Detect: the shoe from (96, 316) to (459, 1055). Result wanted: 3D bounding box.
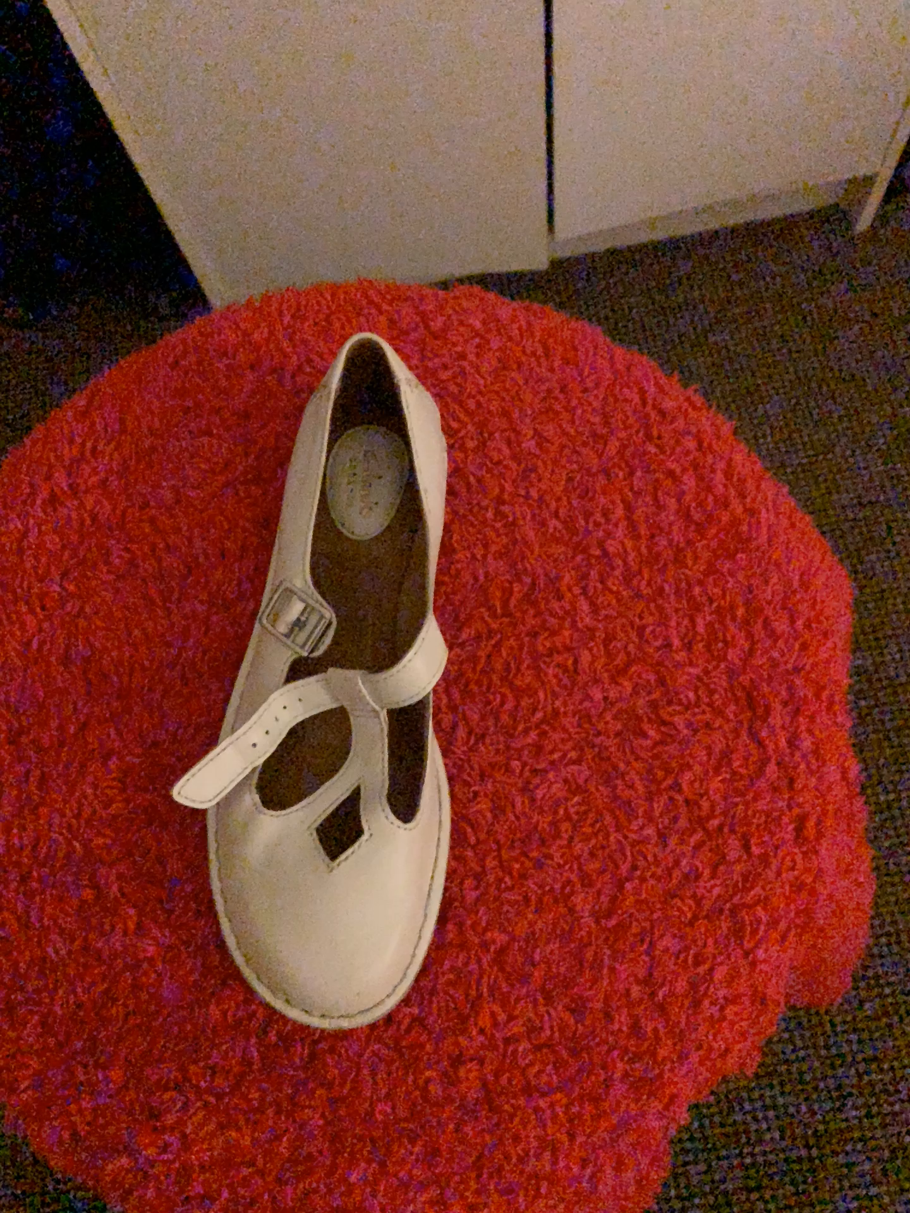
[{"bbox_3d":[-0.055,0.026,0.365,0.100,0.090,0.261,-3,69,6],"label":"shoe"}]
